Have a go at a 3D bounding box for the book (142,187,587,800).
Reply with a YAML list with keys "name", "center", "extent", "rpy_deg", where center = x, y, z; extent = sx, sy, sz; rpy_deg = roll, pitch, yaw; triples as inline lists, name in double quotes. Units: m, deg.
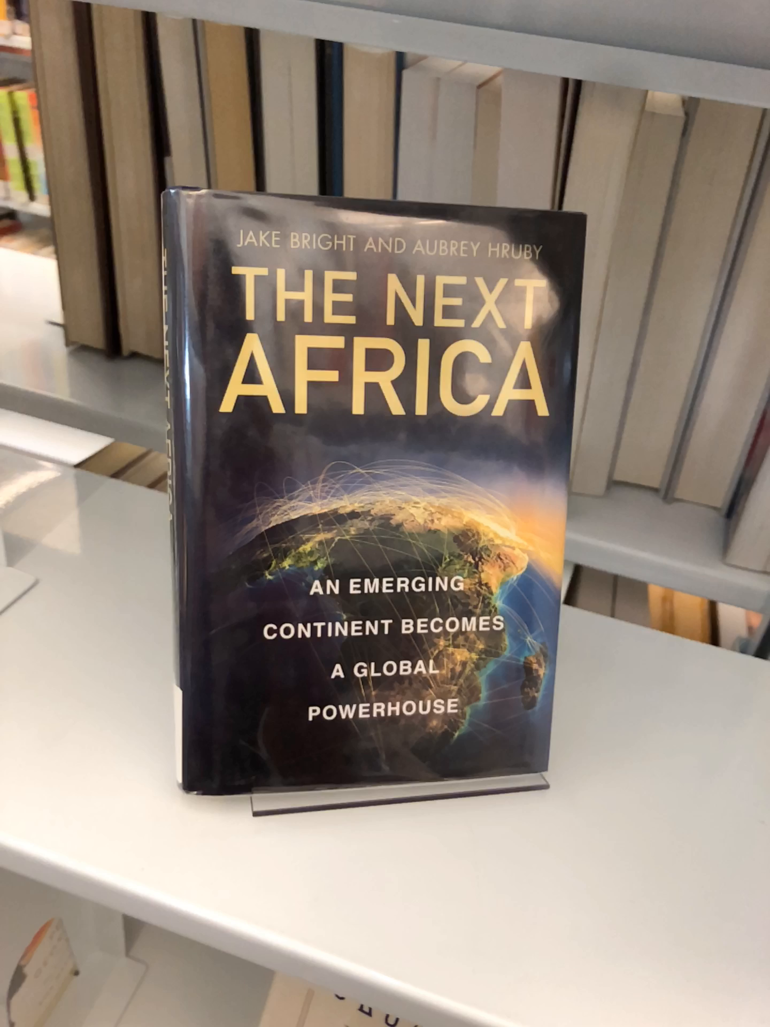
- name: "book"
  center: [-0.009, -0.004, 0.322]
  extent: [0.153, 0.211, 0.030]
  rpy_deg: [0, 10, -12]
